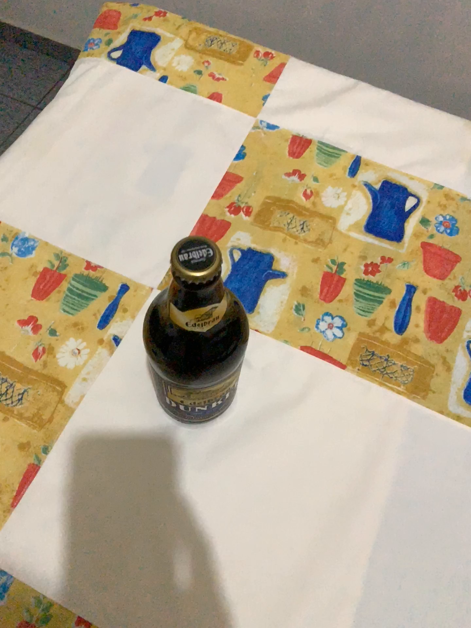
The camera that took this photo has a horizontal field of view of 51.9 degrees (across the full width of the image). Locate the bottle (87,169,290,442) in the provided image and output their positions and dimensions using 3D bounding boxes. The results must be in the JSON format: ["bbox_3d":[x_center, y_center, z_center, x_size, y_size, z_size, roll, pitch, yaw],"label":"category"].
[{"bbox_3d":[-0.032,0.015,0.334,0.080,0.219,0.080,2,64,-3],"label":"bottle"}]
